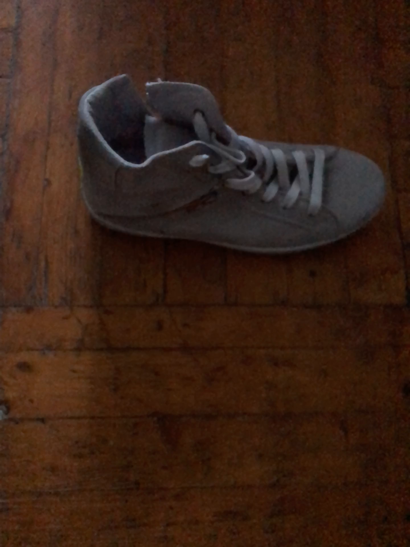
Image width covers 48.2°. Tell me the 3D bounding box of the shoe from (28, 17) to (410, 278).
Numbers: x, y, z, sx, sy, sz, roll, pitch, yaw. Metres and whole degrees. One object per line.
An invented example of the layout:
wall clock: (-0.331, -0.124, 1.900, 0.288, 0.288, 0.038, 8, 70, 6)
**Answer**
shoe: (0.040, -0.085, 0.418, 0.310, 0.220, 0.130, 4, 82, -2)
